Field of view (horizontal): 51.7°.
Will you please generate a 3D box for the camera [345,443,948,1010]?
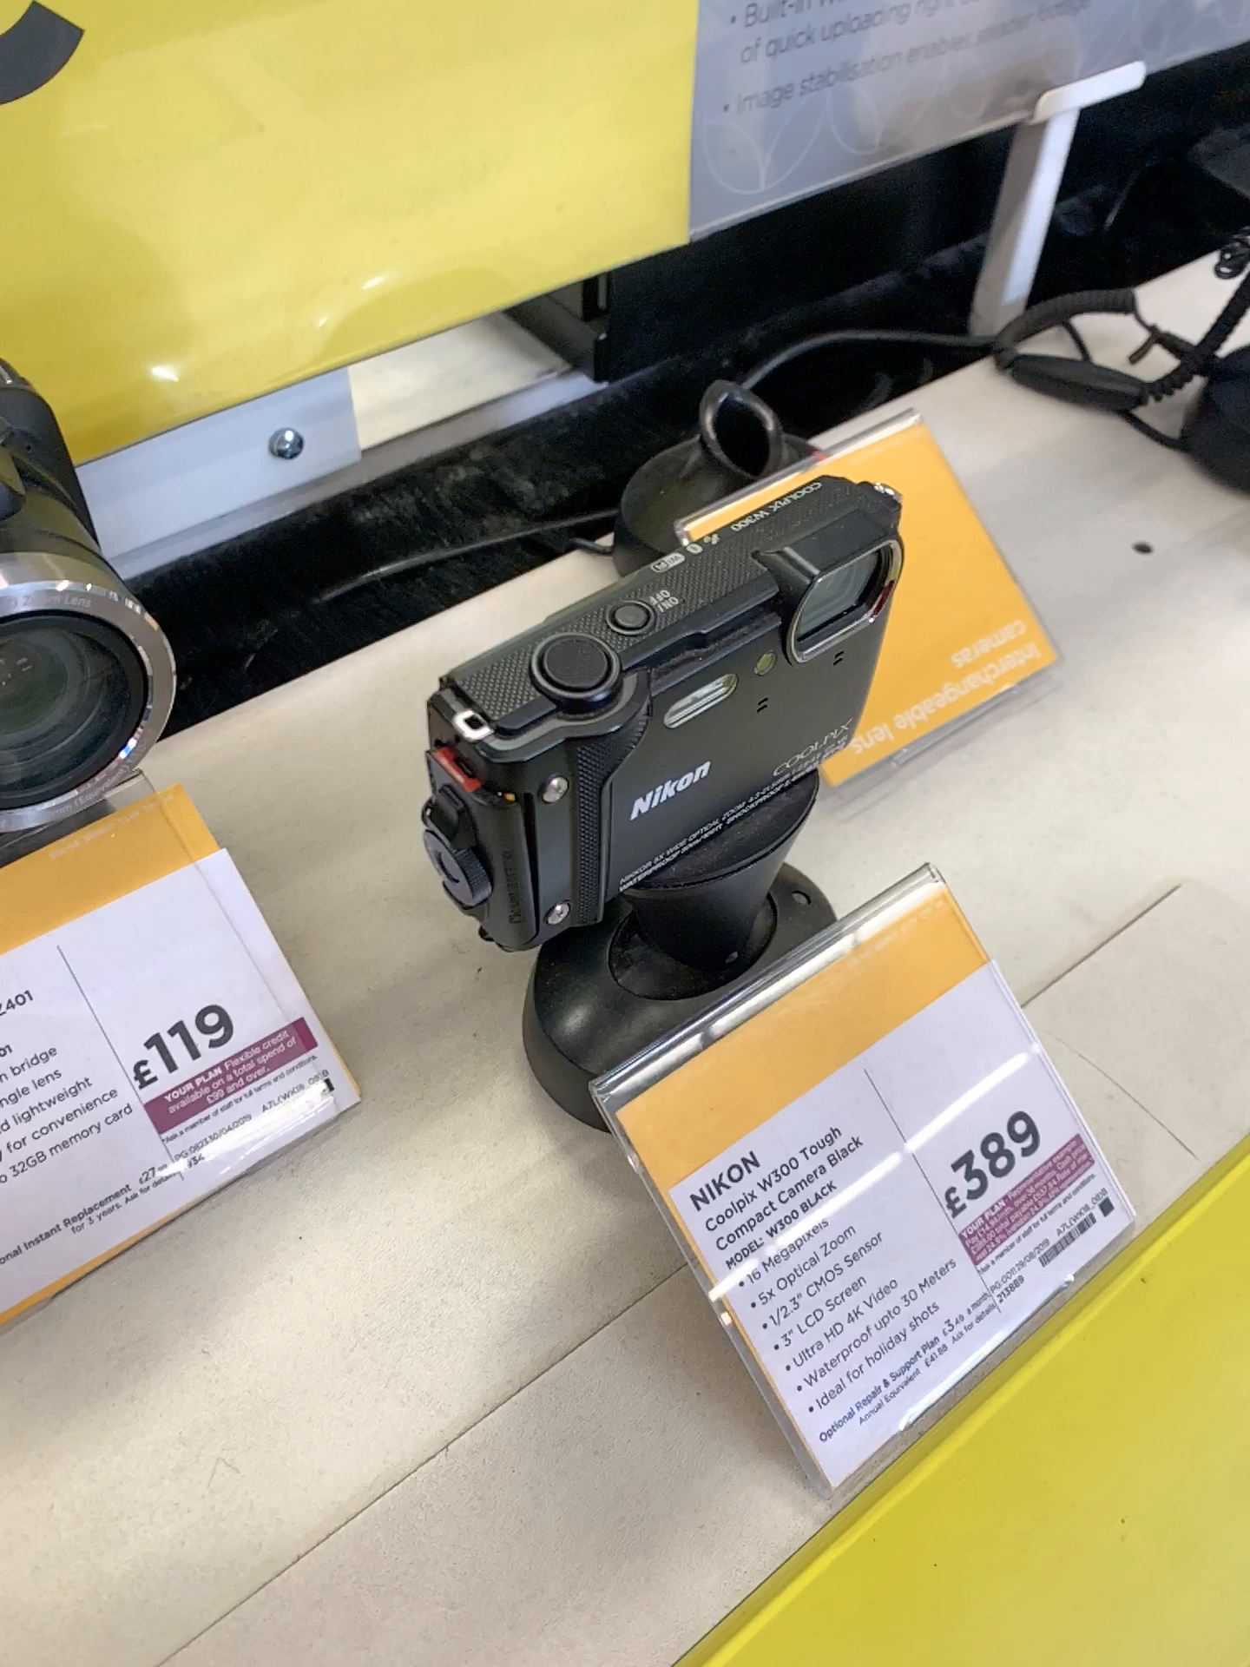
[{"bbox_3d":[0.007,-0.023,0.268,0.120,0.069,0.030,-31,59,-24],"label":"camera"}]
